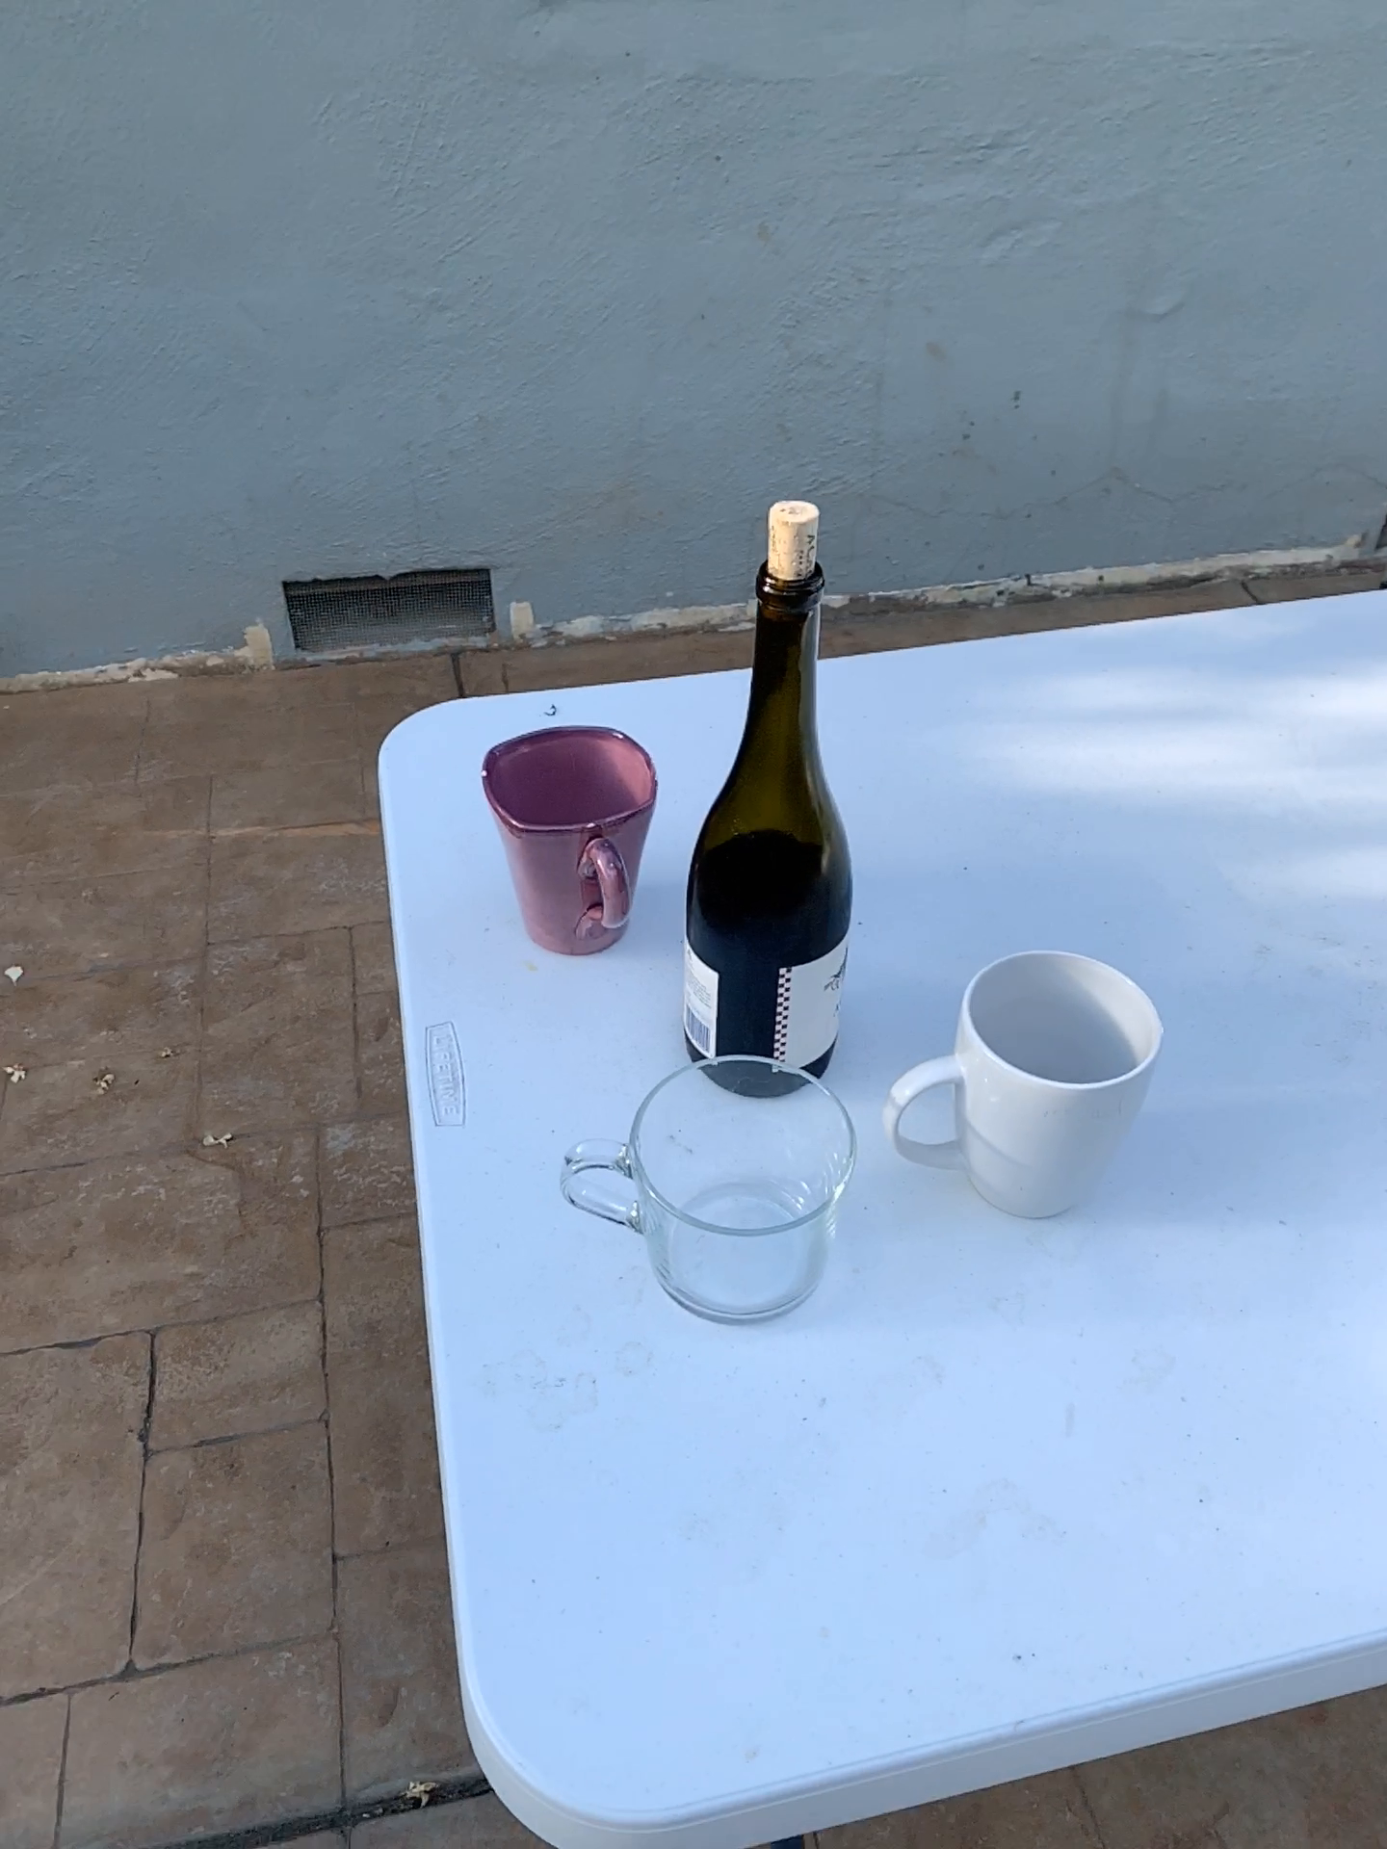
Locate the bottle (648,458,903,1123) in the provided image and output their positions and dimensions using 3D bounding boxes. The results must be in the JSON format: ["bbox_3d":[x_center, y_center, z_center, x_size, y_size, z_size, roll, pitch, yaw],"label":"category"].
[{"bbox_3d":[0.035,-0.052,0.698,0.087,0.318,0.087,0,40,0],"label":"bottle"}]
